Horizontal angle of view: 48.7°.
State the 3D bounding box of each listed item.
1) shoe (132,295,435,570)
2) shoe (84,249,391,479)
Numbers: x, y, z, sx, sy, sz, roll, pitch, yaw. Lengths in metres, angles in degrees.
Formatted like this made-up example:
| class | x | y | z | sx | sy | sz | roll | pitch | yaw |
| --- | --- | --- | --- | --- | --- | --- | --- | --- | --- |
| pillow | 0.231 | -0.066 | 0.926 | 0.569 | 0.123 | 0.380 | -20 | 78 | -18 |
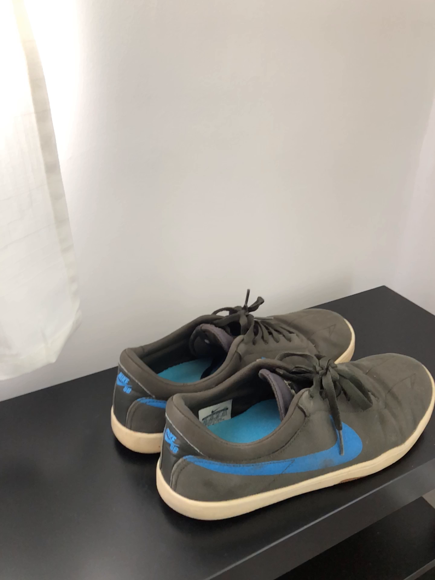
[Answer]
| class | x | y | z | sx | sy | sz | roll | pitch | yaw |
| --- | --- | --- | --- | --- | --- | --- | --- | --- | --- |
| shoe | 0.080 | 0.104 | 0.417 | 0.280 | 0.110 | 0.100 | -13 | 32 | -23 |
| shoe | 0.026 | 0.056 | 0.480 | 0.280 | 0.110 | 0.100 | -16 | 33 | -27 |
